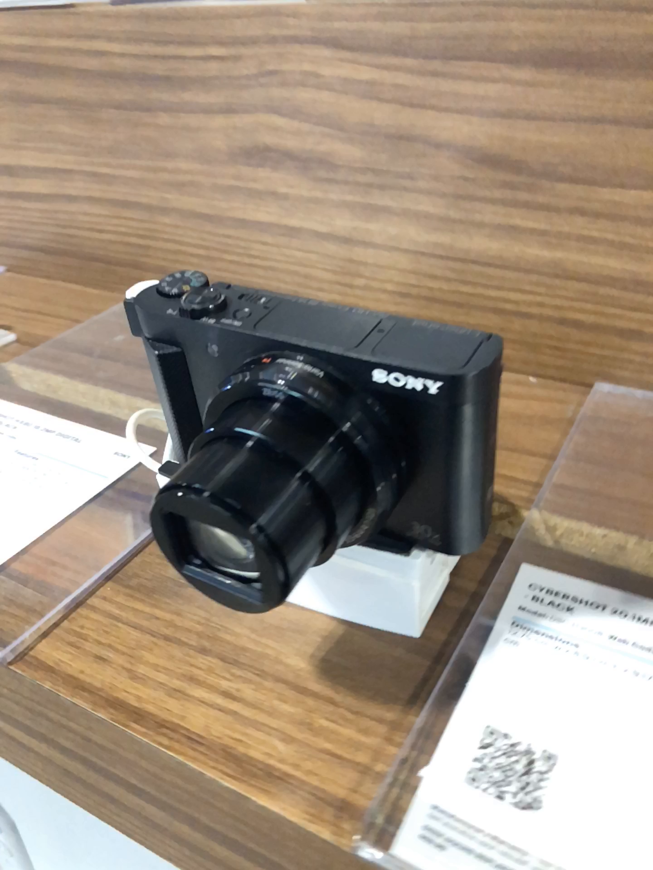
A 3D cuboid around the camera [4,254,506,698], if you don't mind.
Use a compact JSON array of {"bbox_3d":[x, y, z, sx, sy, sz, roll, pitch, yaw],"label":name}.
[{"bbox_3d":[-0.016,0.002,0.186,0.100,0.070,0.060,15,34,26],"label":"camera"}]
